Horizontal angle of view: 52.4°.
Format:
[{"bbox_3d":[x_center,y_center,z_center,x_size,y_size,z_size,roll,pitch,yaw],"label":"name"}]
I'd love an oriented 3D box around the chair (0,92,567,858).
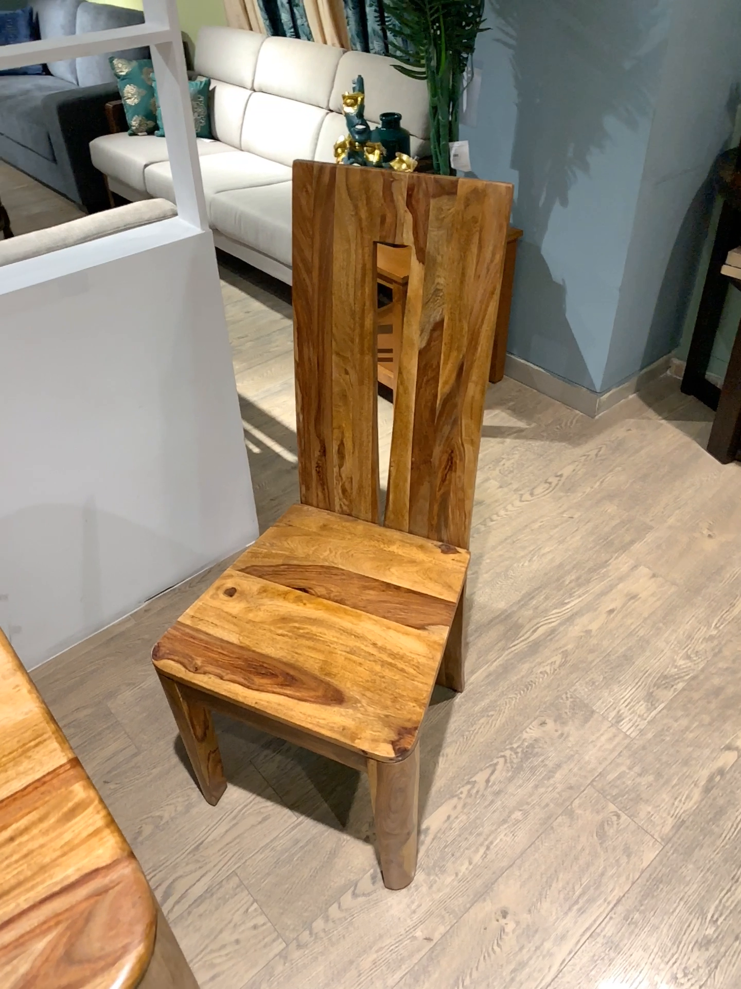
[{"bbox_3d":[-0.065,-0.002,1.191,0.500,0.966,0.602,14,46,17],"label":"chair"}]
